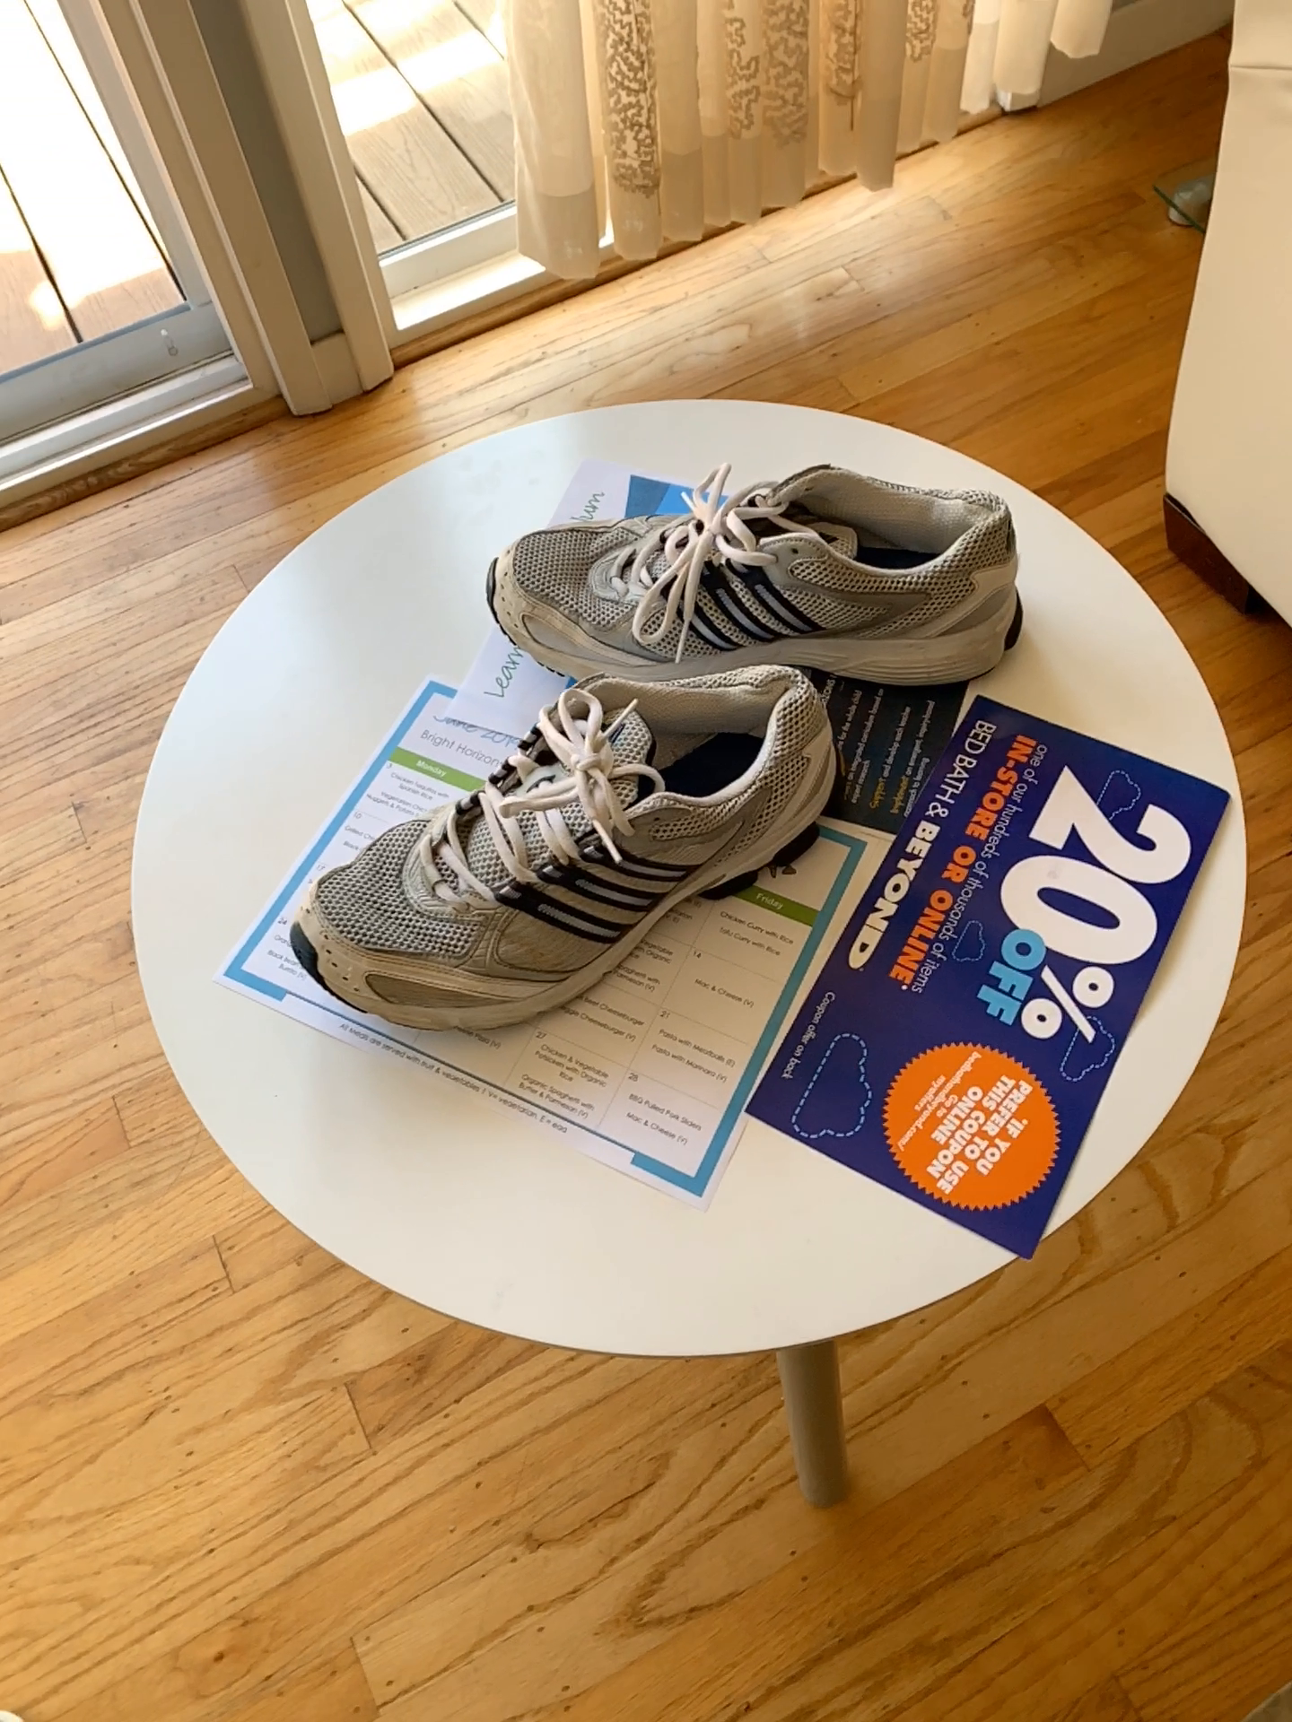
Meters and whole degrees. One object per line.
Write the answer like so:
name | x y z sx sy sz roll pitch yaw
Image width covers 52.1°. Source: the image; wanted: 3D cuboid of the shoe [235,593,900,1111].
shoe | -0.034 -0.008 0.636 0.280 0.080 0.120 -26 61 -10

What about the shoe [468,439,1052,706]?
shoe | 0.059 -0.153 0.698 0.280 0.080 0.110 2 60 6
